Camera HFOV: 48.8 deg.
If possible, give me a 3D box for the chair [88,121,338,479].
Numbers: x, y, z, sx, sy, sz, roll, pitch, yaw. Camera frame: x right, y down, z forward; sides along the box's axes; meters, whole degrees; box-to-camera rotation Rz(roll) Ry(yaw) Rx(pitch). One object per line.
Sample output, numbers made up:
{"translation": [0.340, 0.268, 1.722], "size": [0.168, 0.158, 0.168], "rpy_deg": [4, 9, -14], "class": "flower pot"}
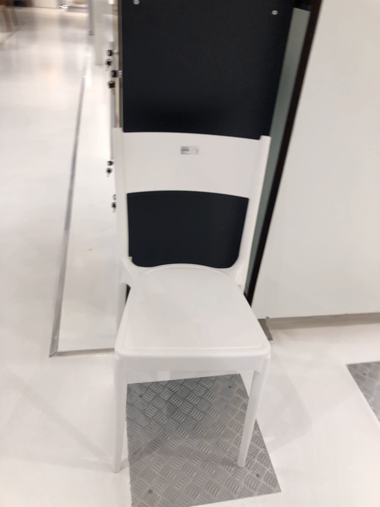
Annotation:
{"translation": [-0.011, 0.126, 1.086], "size": [0.410, 0.764, 0.484], "rpy_deg": [1, 34, -7], "class": "chair"}
